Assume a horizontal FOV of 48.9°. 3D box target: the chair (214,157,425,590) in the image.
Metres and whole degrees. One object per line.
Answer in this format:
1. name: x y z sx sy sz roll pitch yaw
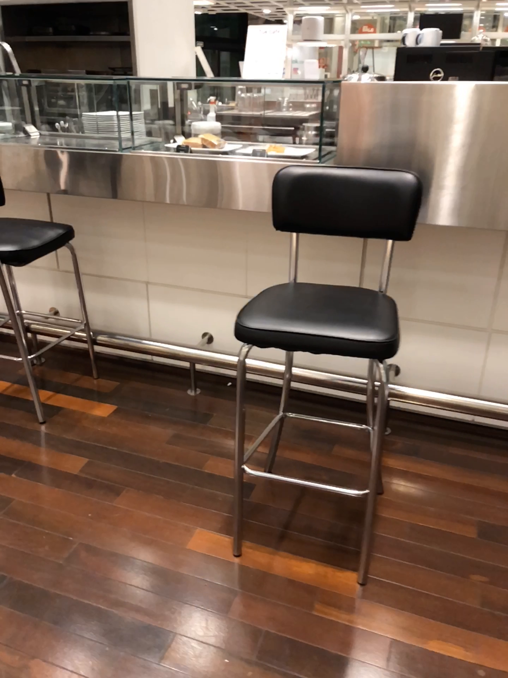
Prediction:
1. chair: 0.179 0.070 1.514 0.420 1.013 0.473 7 24 15
